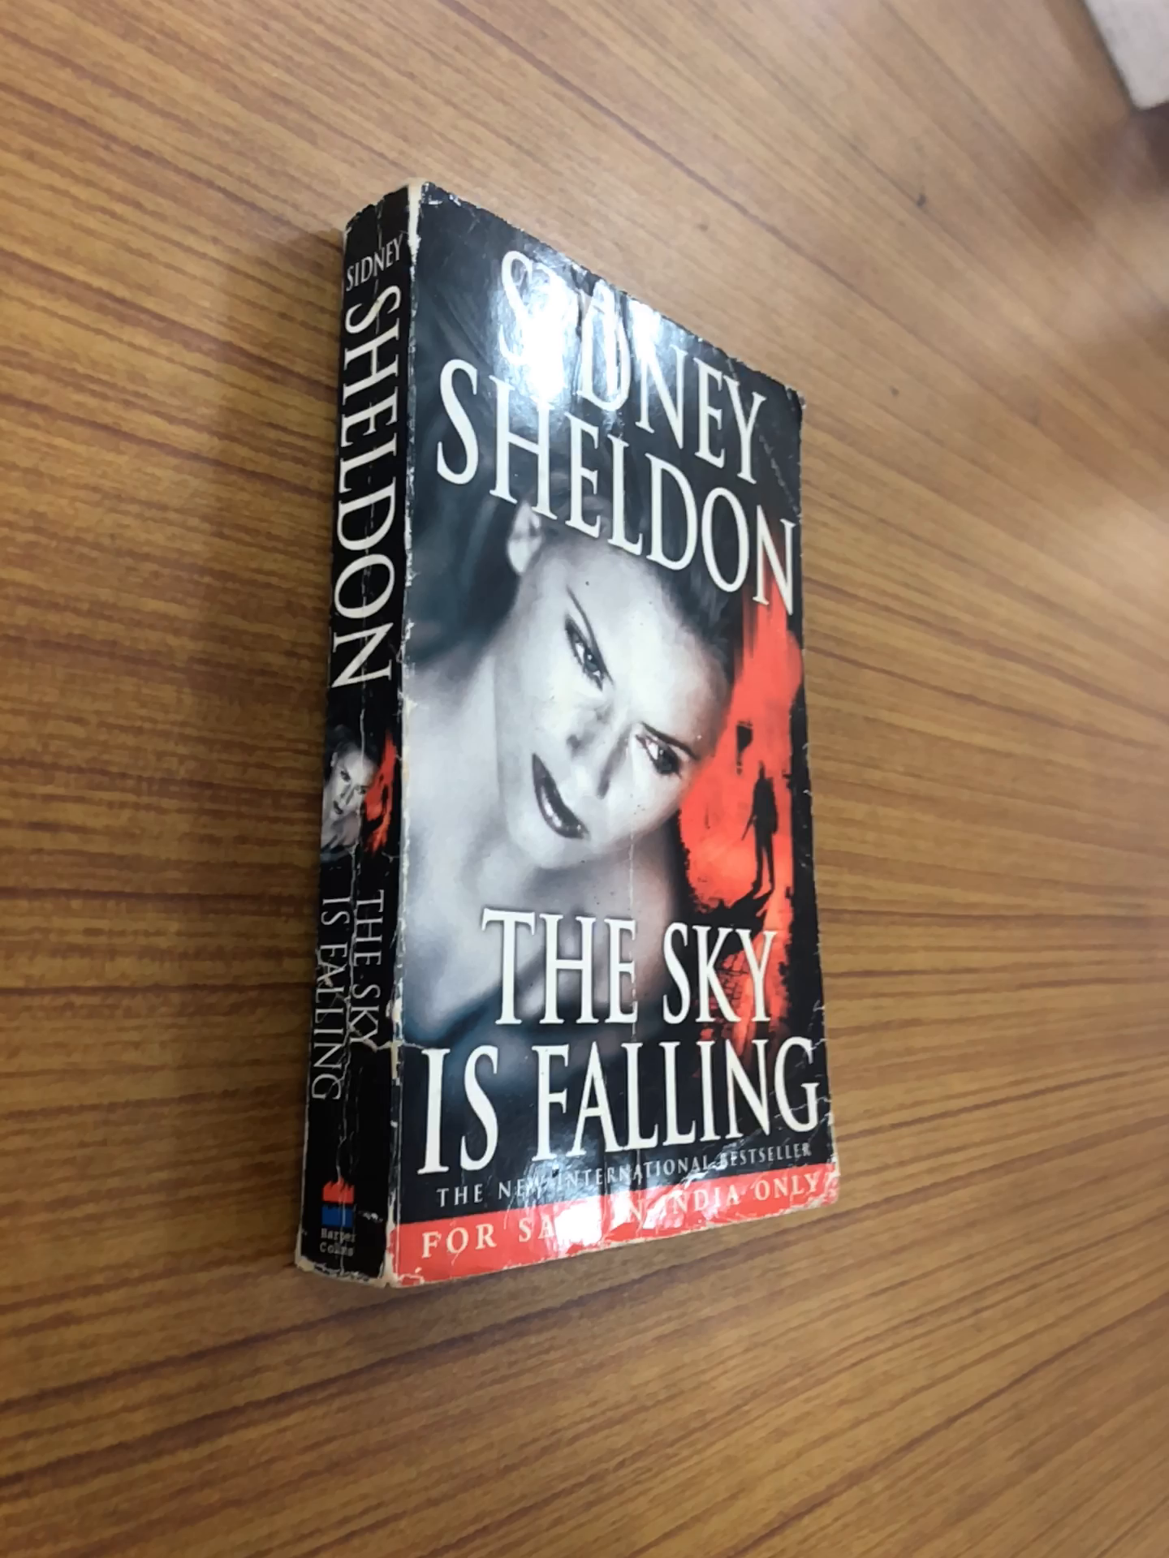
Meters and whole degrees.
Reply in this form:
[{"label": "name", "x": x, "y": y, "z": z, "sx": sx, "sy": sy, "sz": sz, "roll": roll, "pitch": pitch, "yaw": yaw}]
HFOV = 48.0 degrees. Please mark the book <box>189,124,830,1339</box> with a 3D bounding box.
[{"label": "book", "x": -0.003, "y": -0.003, "z": 0.233, "sx": 0.121, "sy": 0.030, "sz": 0.170, "roll": 12, "pitch": 75, "yaw": -47}]
